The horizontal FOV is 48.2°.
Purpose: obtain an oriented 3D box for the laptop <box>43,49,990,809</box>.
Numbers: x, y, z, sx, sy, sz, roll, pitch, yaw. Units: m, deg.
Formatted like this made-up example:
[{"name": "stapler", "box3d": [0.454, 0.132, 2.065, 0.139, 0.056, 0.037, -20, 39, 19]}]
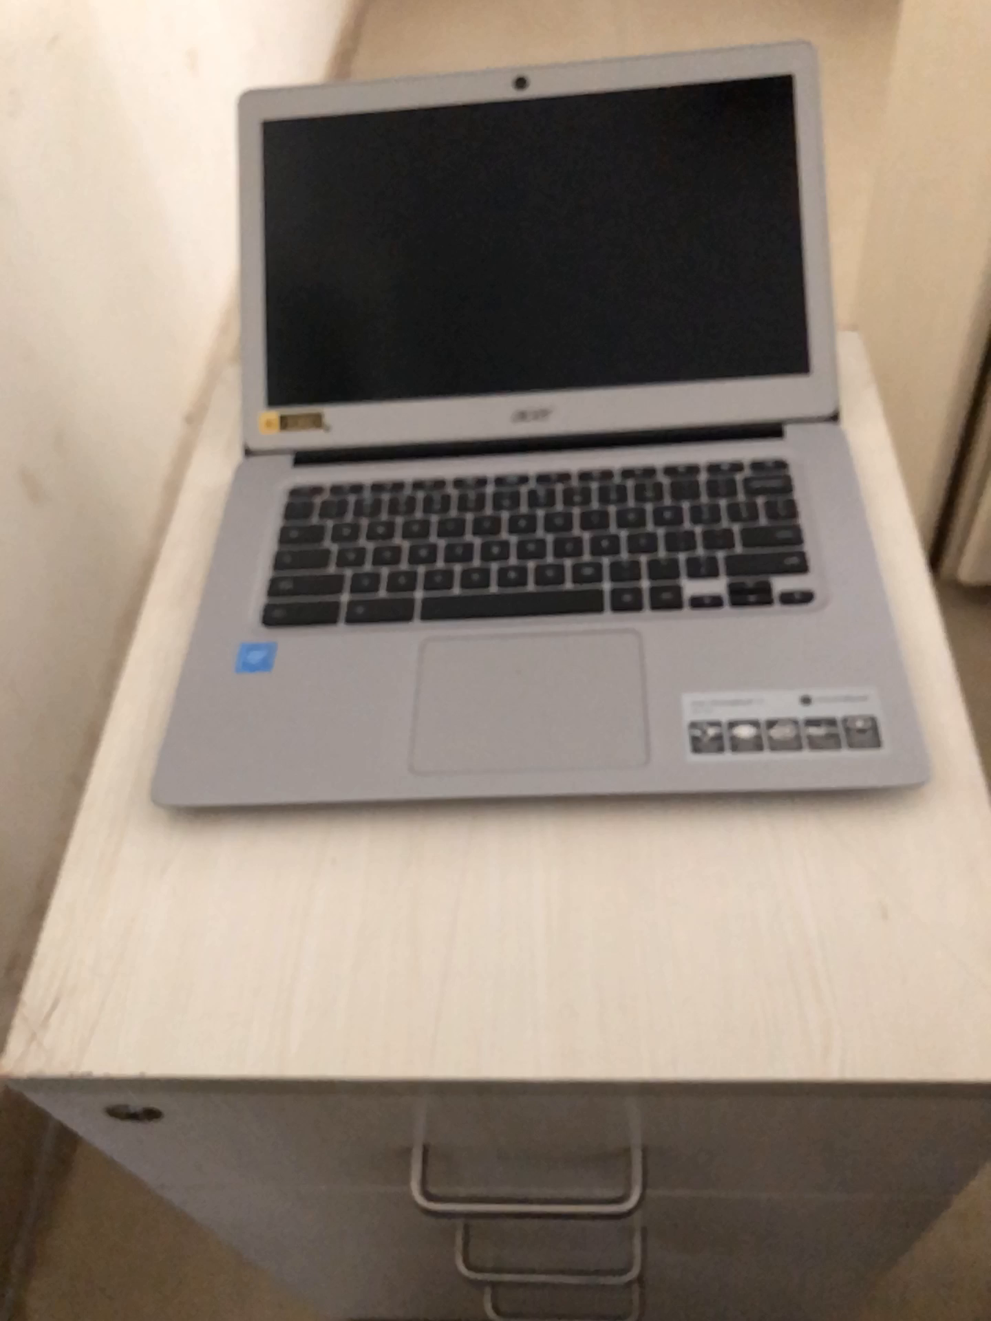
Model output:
[{"name": "laptop", "box3d": [0.015, -0.139, 0.560, 0.332, 0.125, 0.410, -2, 51, 6]}]
